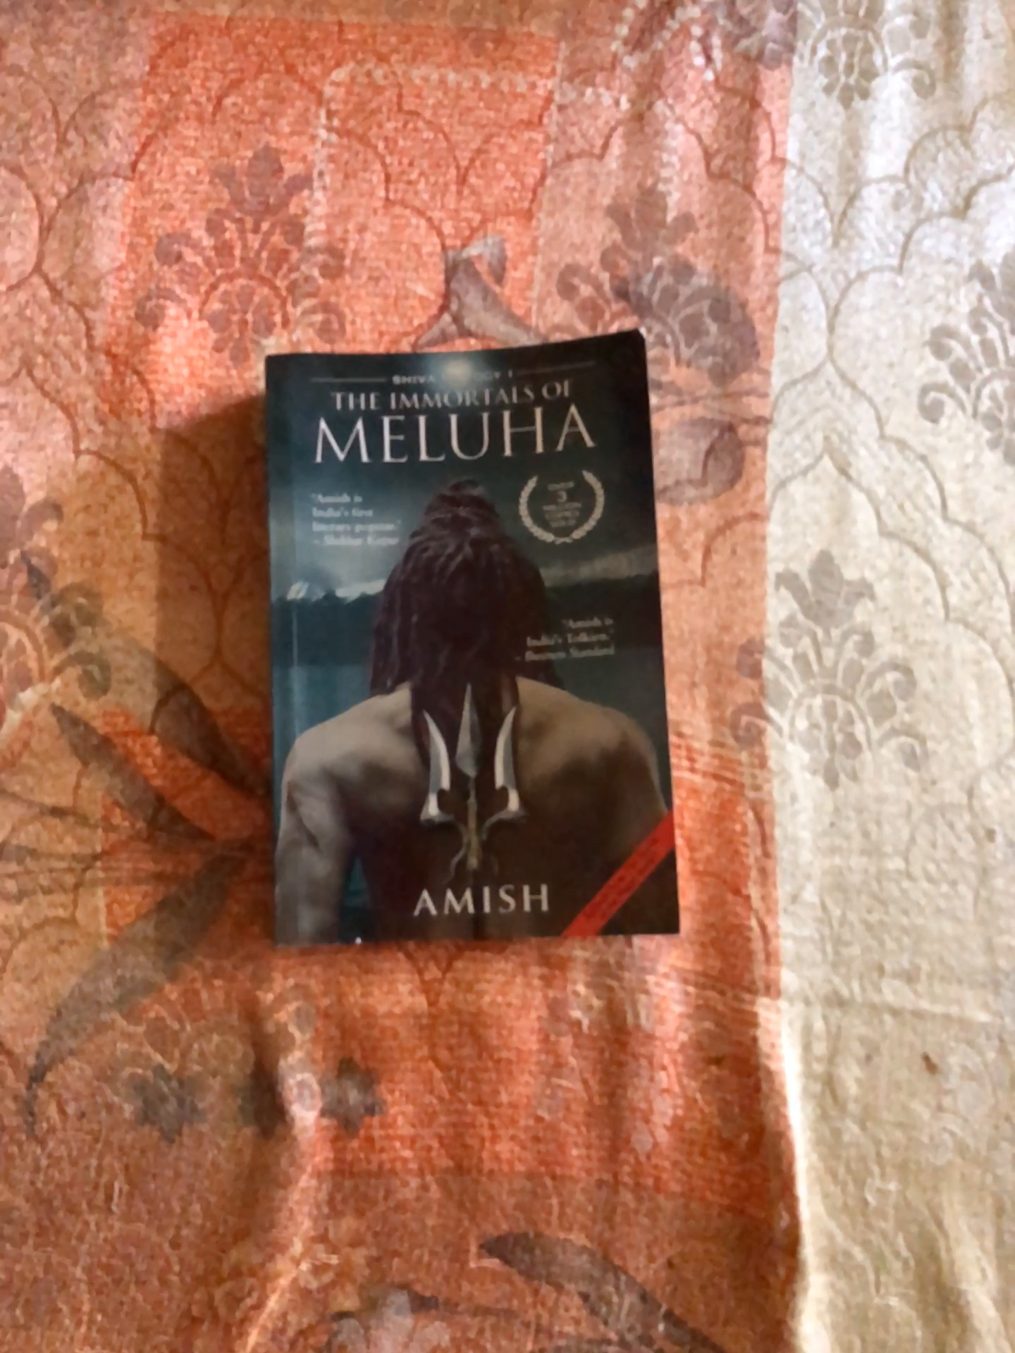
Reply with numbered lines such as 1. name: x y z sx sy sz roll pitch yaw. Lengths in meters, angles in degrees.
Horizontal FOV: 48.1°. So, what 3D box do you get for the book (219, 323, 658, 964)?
1. book: -0.025 -0.013 0.374 0.131 0.040 0.200 -2 81 -5
